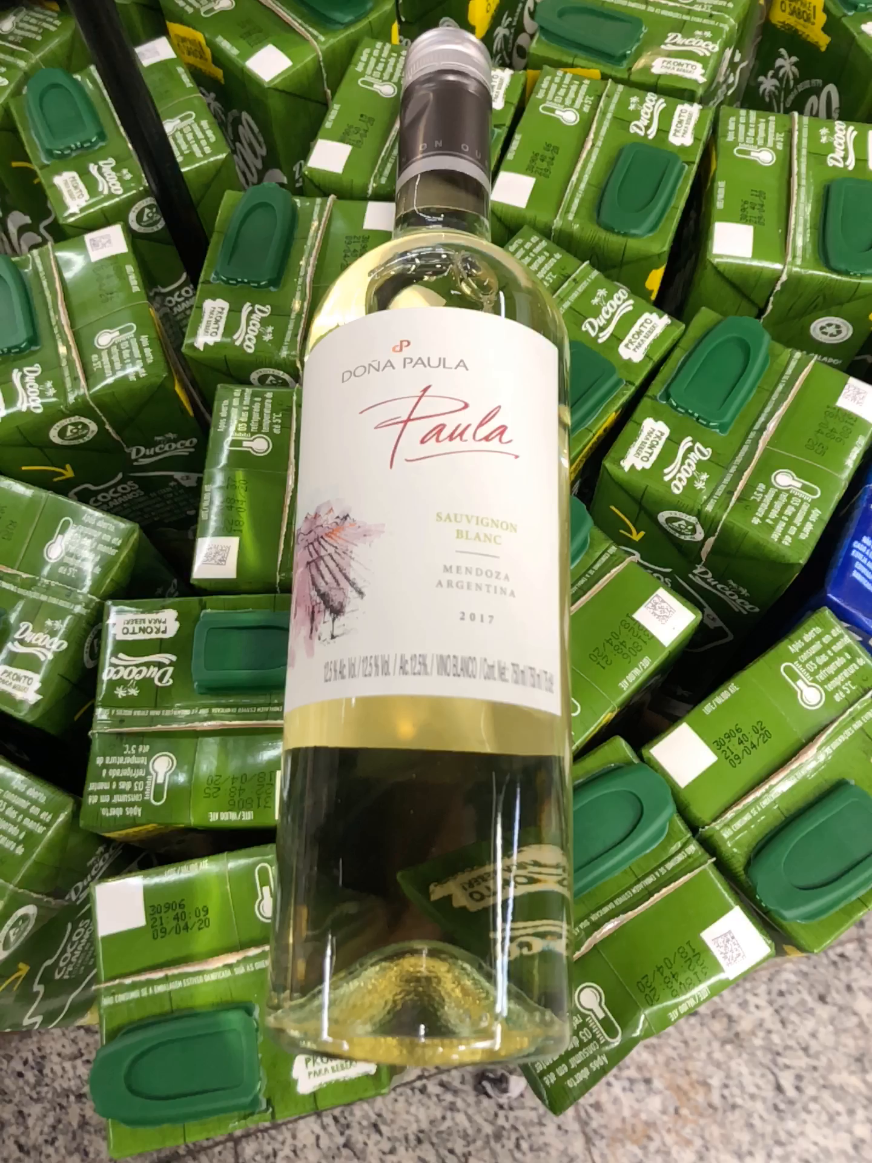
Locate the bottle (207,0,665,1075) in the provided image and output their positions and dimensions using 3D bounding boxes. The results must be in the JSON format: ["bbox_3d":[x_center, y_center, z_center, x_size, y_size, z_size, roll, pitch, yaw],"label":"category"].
[{"bbox_3d":[0.005,-0.054,0.265,0.080,0.070,0.331,0,67,3],"label":"bottle"}]
